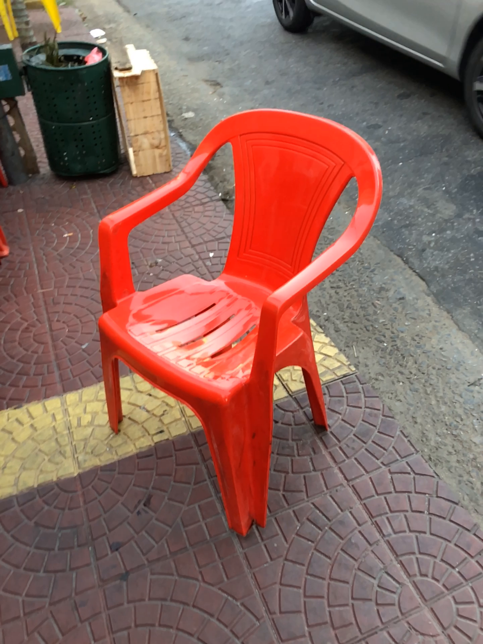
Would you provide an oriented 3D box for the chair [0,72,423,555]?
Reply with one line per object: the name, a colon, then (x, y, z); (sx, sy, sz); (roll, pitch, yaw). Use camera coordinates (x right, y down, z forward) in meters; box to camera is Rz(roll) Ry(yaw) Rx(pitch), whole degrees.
chair: (-0.045, -0.034, 1.222); (0.572, 0.794, 0.542); (29, 51, 31)
